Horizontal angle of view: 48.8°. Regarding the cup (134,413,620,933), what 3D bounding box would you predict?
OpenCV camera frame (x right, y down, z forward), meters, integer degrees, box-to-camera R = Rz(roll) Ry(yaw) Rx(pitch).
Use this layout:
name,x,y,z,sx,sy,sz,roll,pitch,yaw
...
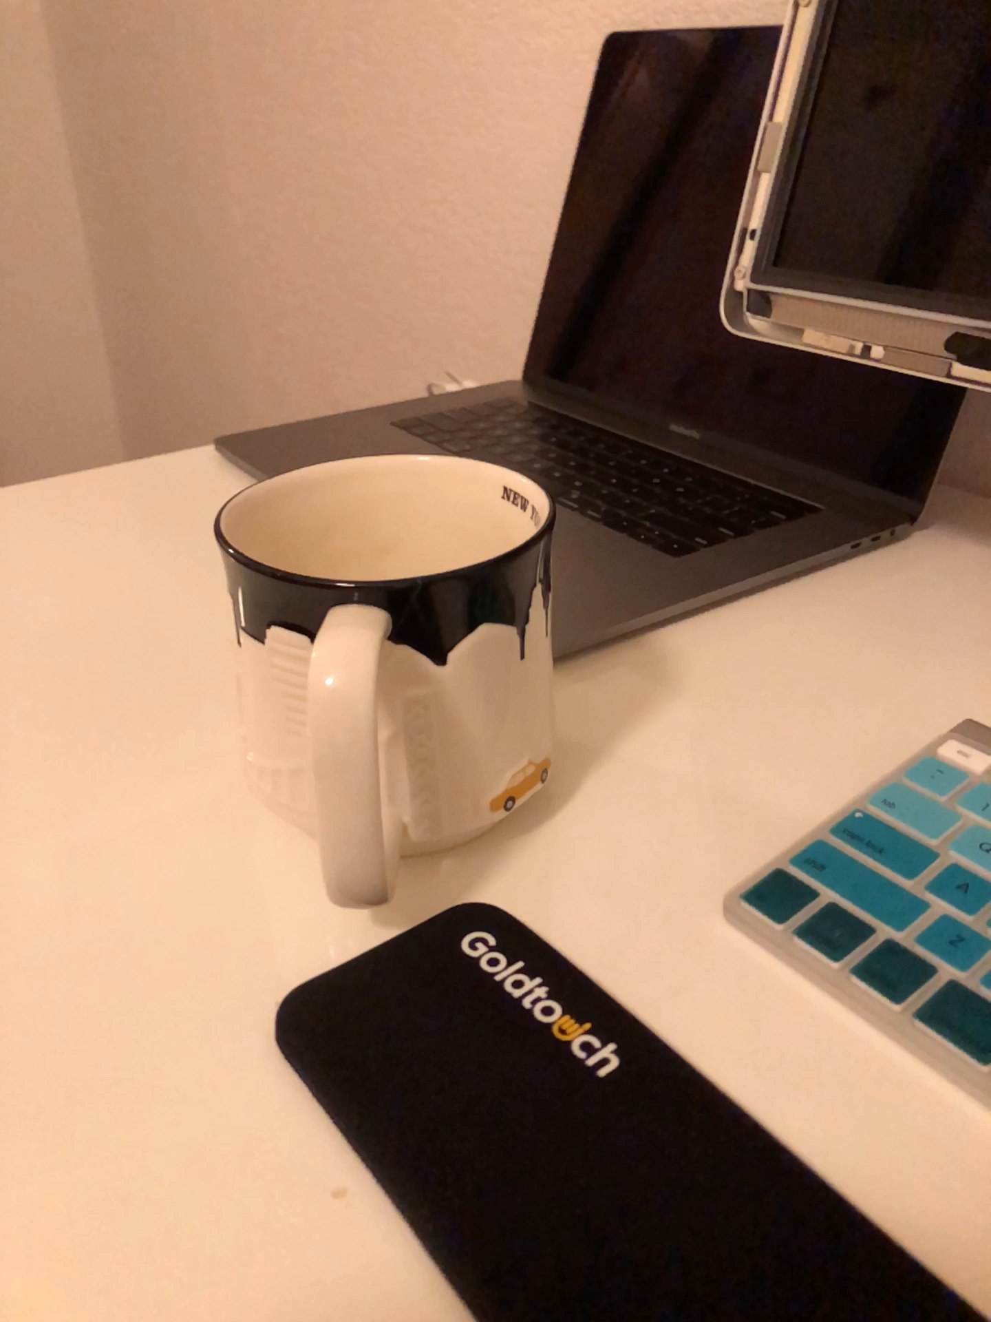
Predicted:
name,x,y,z,sx,sy,sz,roll,pitch,yaw
cup,-0.033,-0.008,0.335,0.110,0.089,0.151,-4,29,-5
